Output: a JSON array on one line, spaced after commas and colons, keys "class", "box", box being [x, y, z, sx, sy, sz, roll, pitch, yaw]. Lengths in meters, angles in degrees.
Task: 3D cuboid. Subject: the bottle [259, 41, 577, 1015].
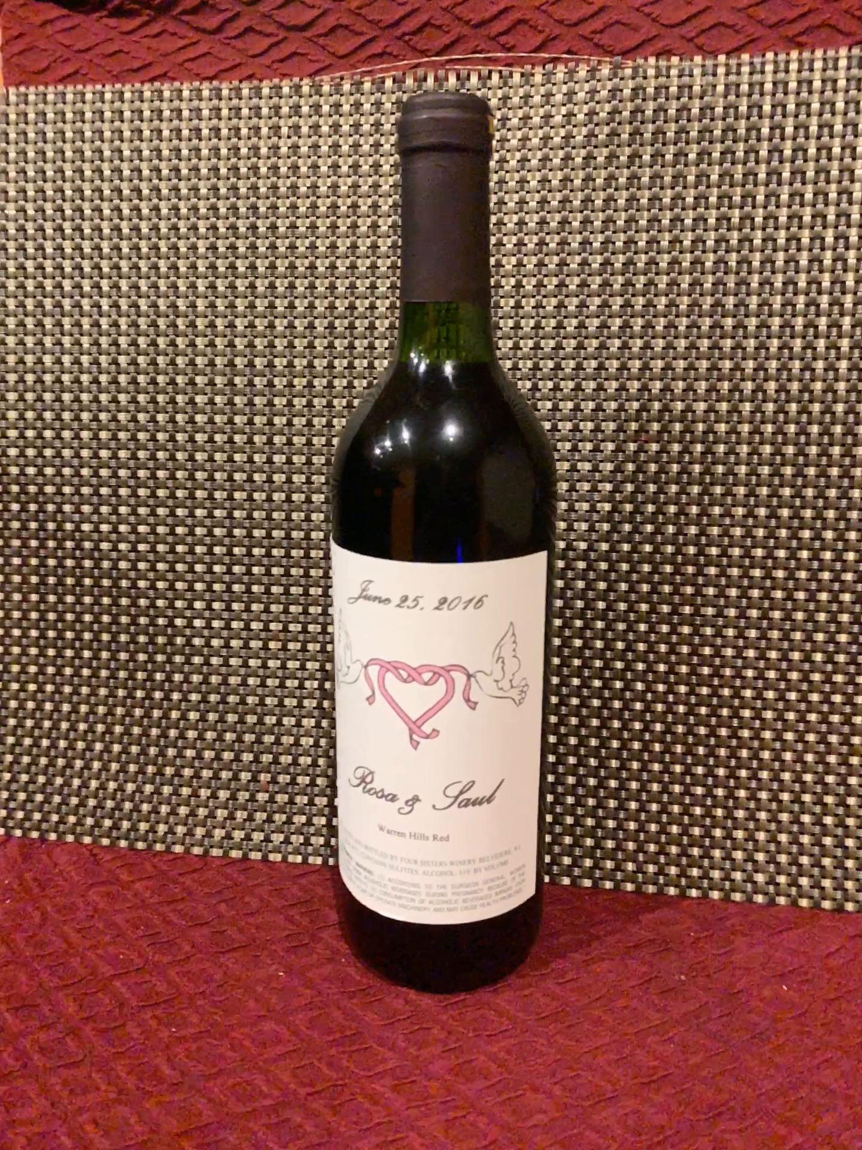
[{"class": "bottle", "box": [0.000, -0.003, 0.295, 0.080, 0.289, 0.060, 3, 16, 12]}]
